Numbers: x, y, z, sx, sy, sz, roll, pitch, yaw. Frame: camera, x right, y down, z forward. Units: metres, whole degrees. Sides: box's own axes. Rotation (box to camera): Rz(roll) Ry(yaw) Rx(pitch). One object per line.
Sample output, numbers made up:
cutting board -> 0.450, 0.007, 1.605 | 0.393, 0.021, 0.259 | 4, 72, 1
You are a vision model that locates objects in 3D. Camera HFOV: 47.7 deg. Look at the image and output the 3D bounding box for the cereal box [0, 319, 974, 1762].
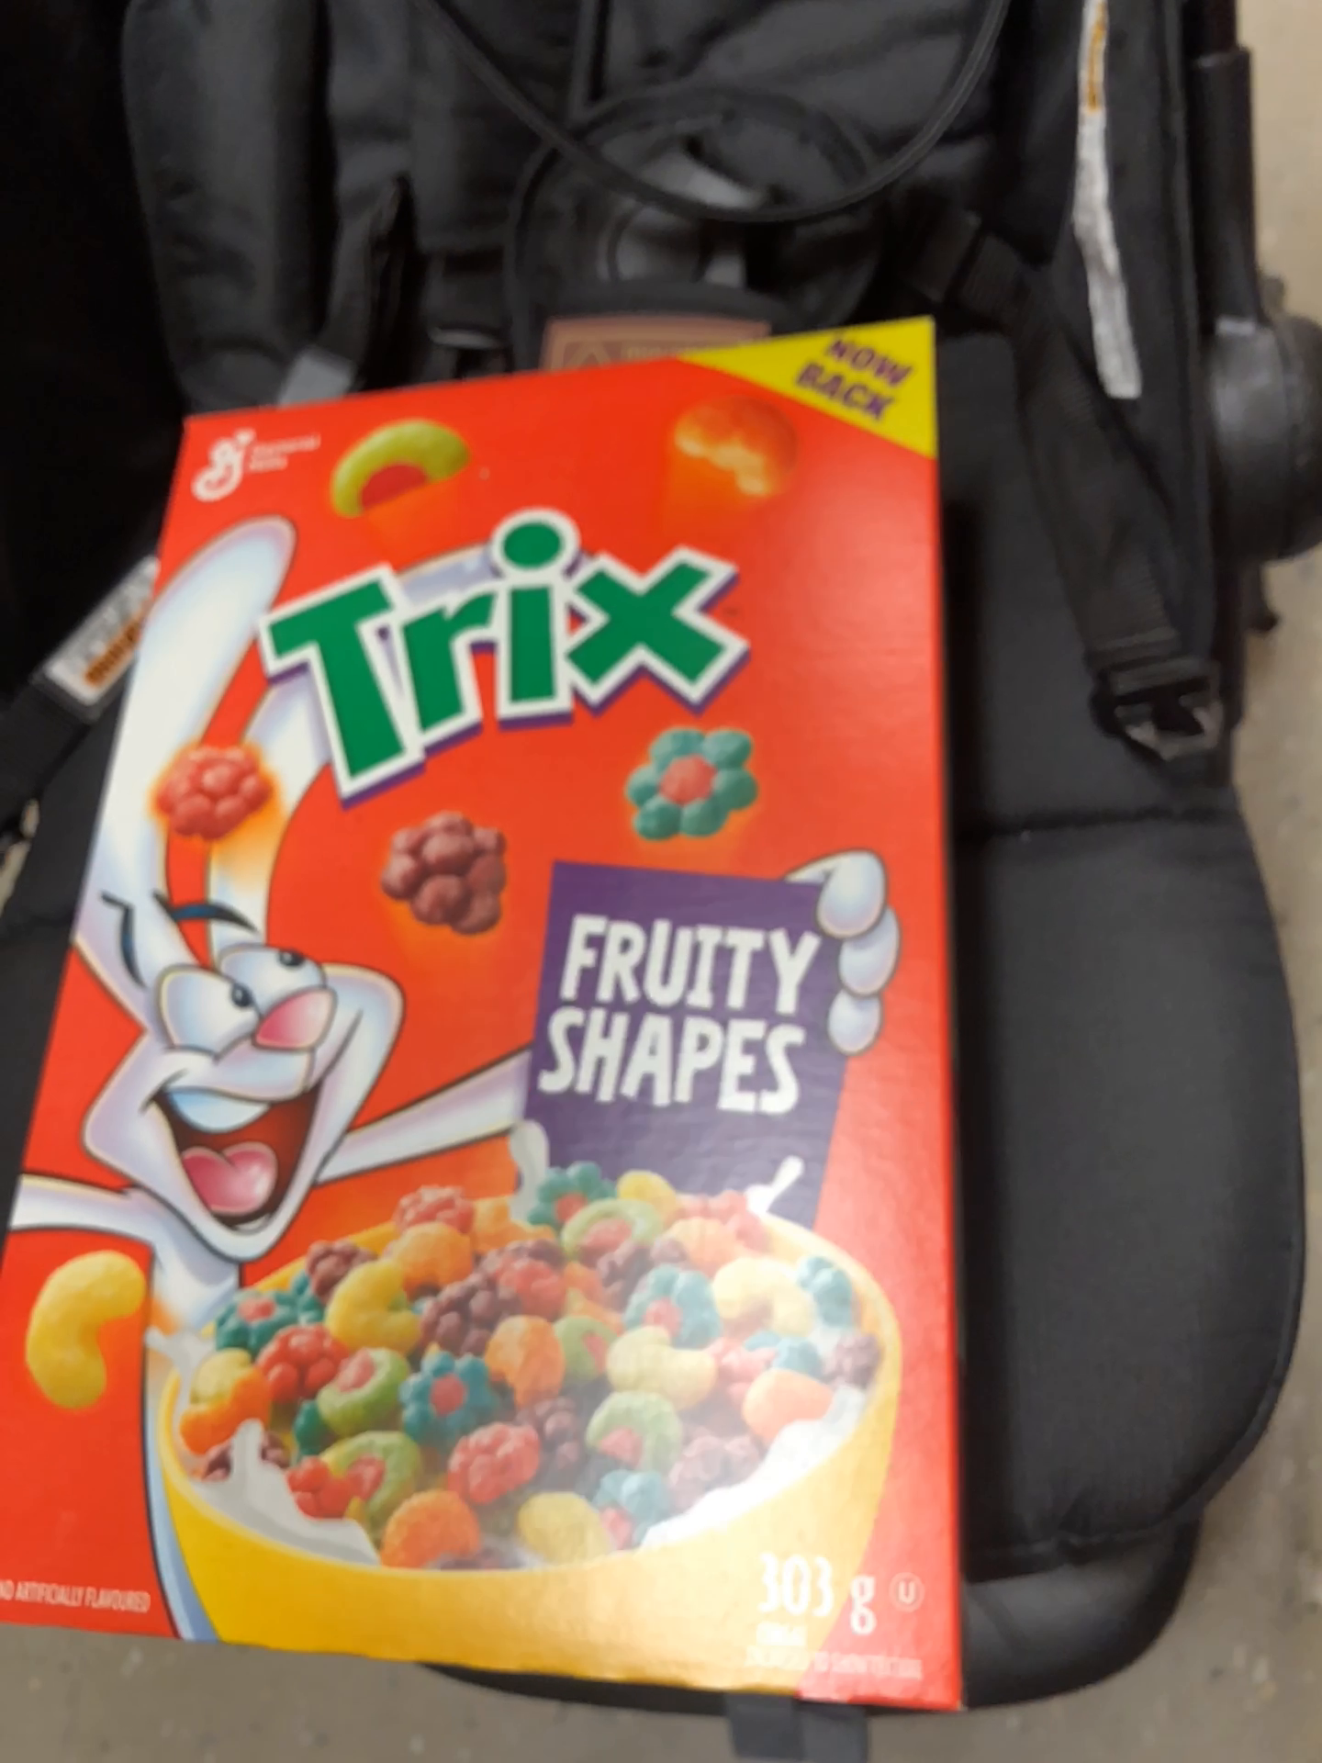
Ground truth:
cereal box -> -0.039, 0.021, 0.329 | 0.200, 0.060, 0.280 | -3, 67, 14
